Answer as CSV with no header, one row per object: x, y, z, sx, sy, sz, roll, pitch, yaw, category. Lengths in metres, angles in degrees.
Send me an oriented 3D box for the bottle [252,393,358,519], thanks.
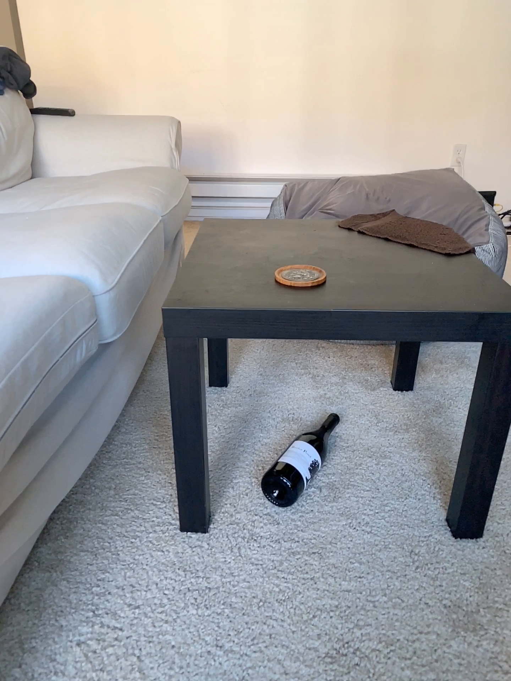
0.109,0.226,1.069,0.080,0.079,0.281,32,39,16,bottle
